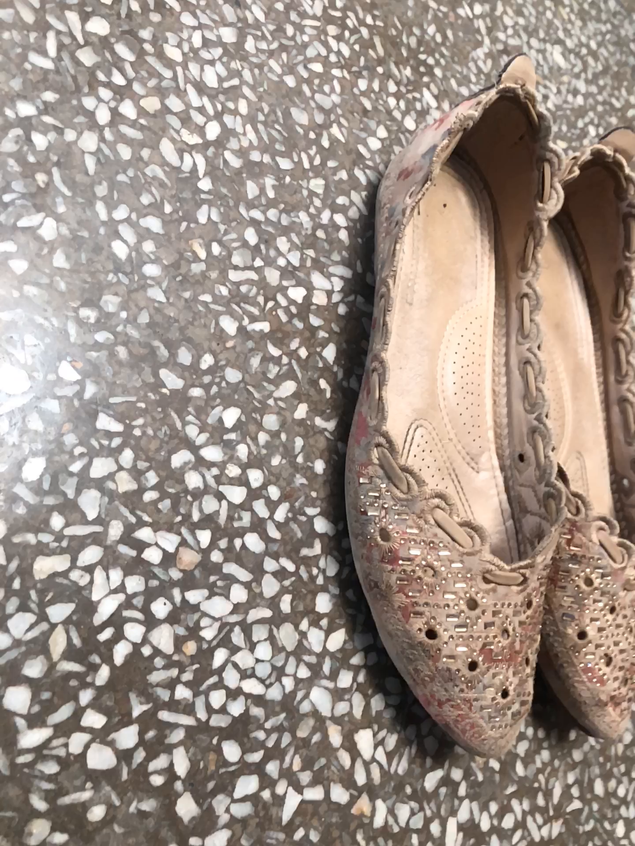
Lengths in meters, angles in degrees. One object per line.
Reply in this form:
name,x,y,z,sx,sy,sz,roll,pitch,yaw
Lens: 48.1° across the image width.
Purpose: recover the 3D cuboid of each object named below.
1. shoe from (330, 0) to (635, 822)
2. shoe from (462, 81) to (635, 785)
shoe,0.062,-0.012,0.259,0.090,0.068,0.254,10,73,-36
shoe,0.130,0.001,0.305,0.090,0.068,0.254,5,76,-37
